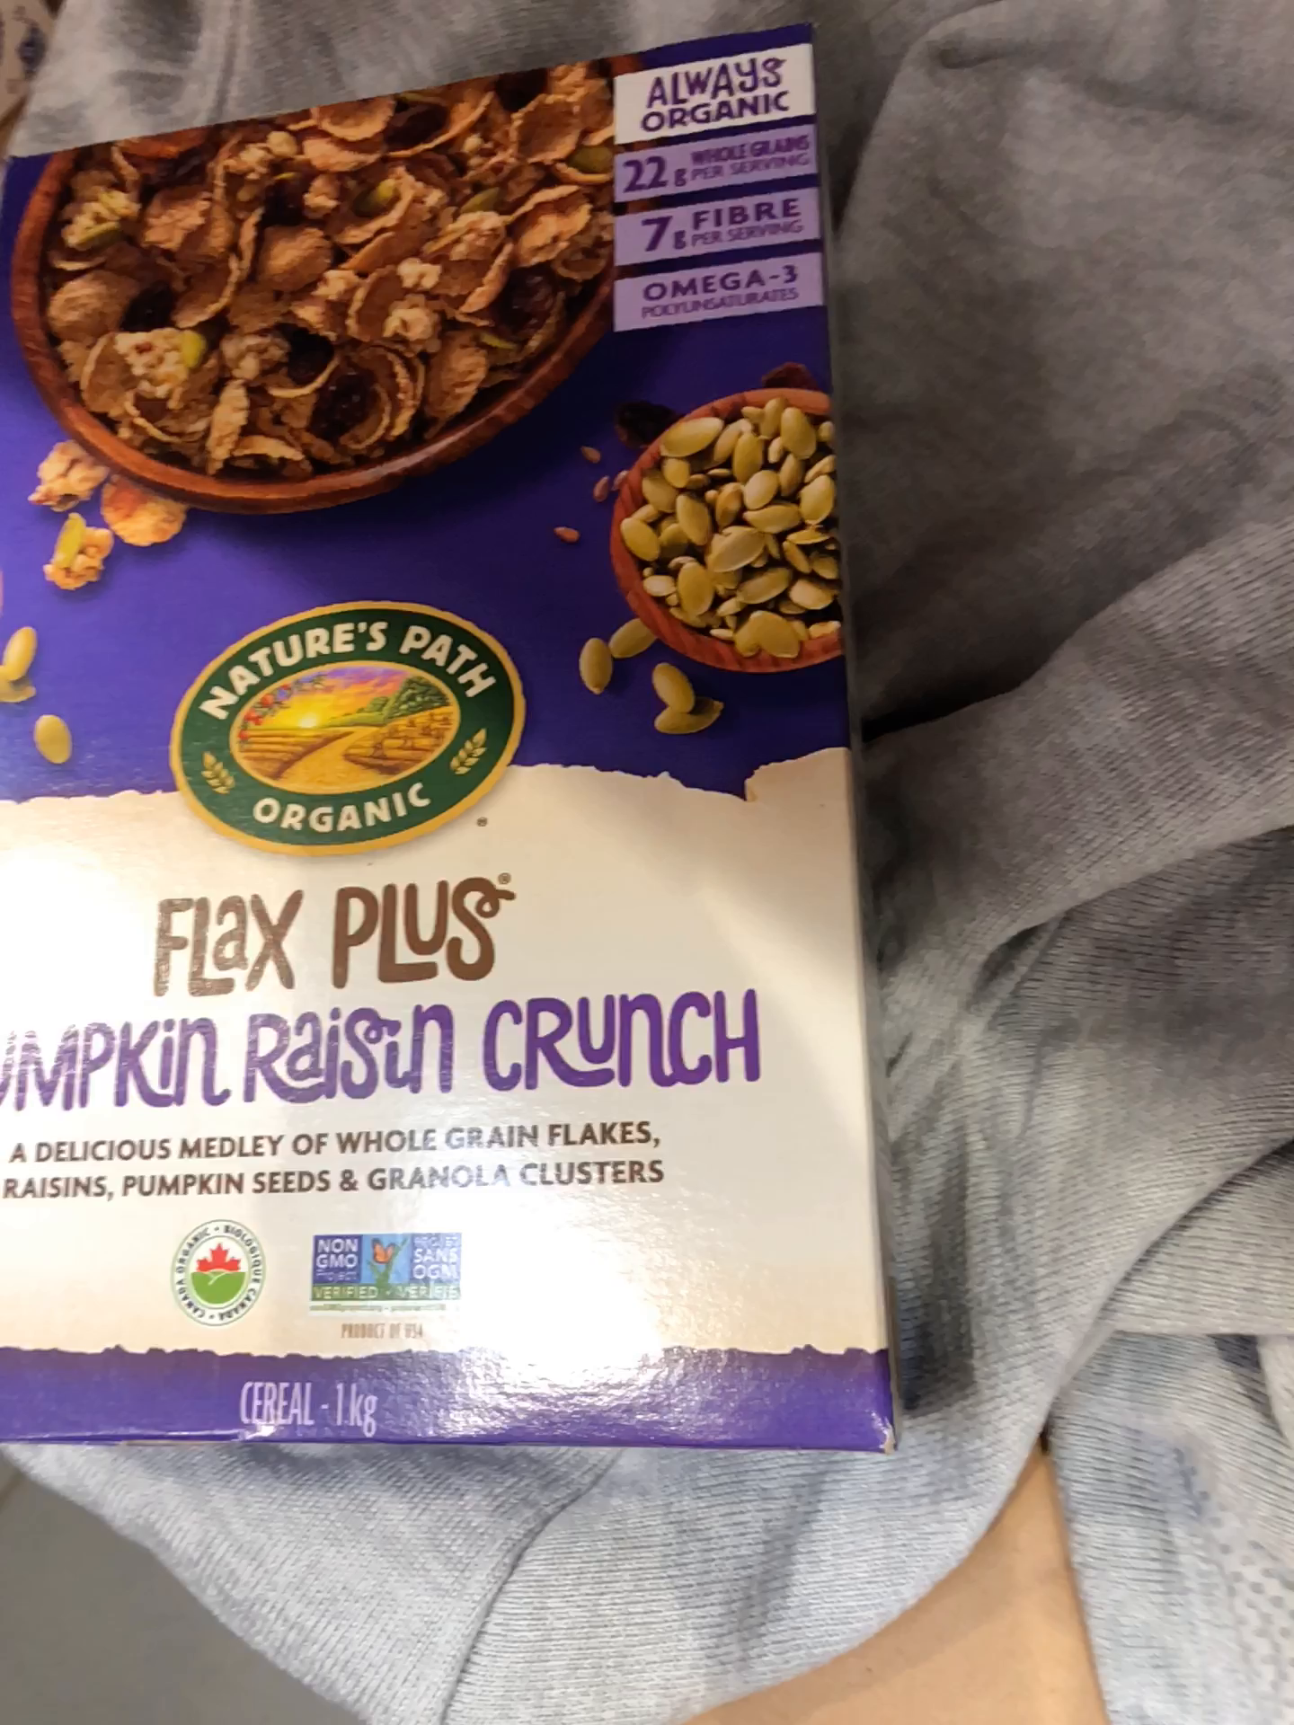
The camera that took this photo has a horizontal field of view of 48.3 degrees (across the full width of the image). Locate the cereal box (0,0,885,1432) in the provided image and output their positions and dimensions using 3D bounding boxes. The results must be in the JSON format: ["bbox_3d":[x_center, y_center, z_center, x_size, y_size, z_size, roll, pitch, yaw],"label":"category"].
[{"bbox_3d":[-0.061,-0.038,0.336,0.210,0.090,0.310,-3,72,10],"label":"cereal box"}]
